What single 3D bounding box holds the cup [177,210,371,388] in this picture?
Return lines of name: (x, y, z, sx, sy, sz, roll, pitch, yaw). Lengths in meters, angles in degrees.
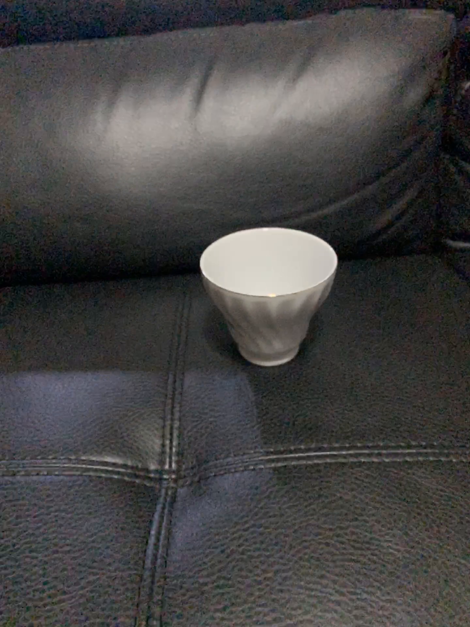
cup: (0.019, -0.017, 0.335, 0.093, 0.059, 0.114, -10, 34, -13)
